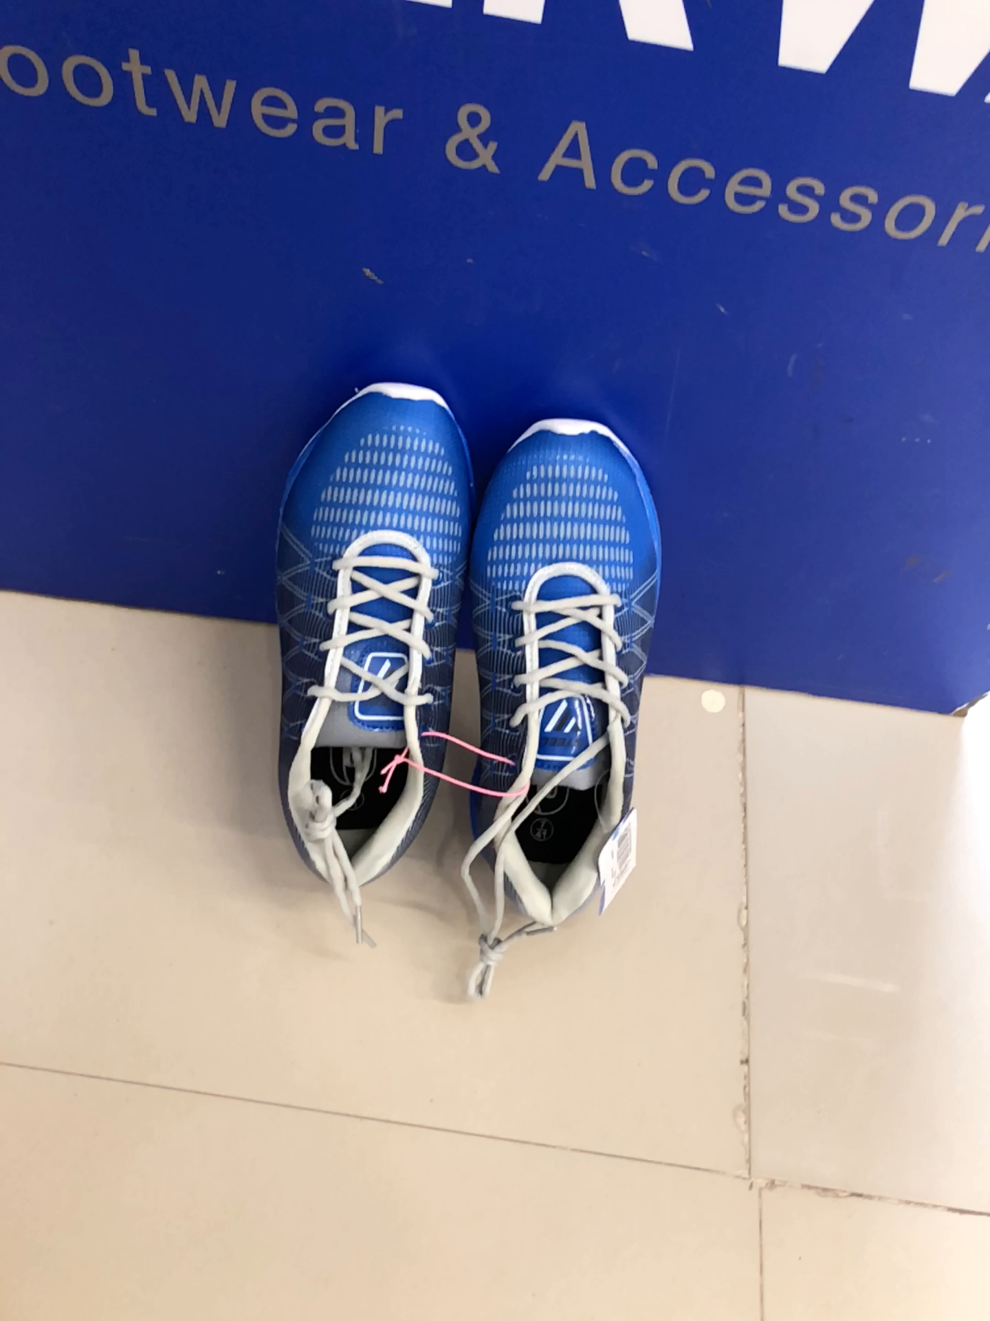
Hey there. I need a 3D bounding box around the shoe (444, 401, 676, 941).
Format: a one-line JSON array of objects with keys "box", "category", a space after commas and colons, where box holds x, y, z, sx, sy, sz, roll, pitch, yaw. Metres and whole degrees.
[{"box": [0.030, 0.001, 0.611, 0.100, 0.120, 0.270, 3, 98, -2], "category": "shoe"}]

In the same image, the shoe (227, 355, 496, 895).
[{"box": [-0.075, -0.021, 0.605, 0.110, 0.269, 0.100, 6, 13, -6], "category": "shoe"}]
